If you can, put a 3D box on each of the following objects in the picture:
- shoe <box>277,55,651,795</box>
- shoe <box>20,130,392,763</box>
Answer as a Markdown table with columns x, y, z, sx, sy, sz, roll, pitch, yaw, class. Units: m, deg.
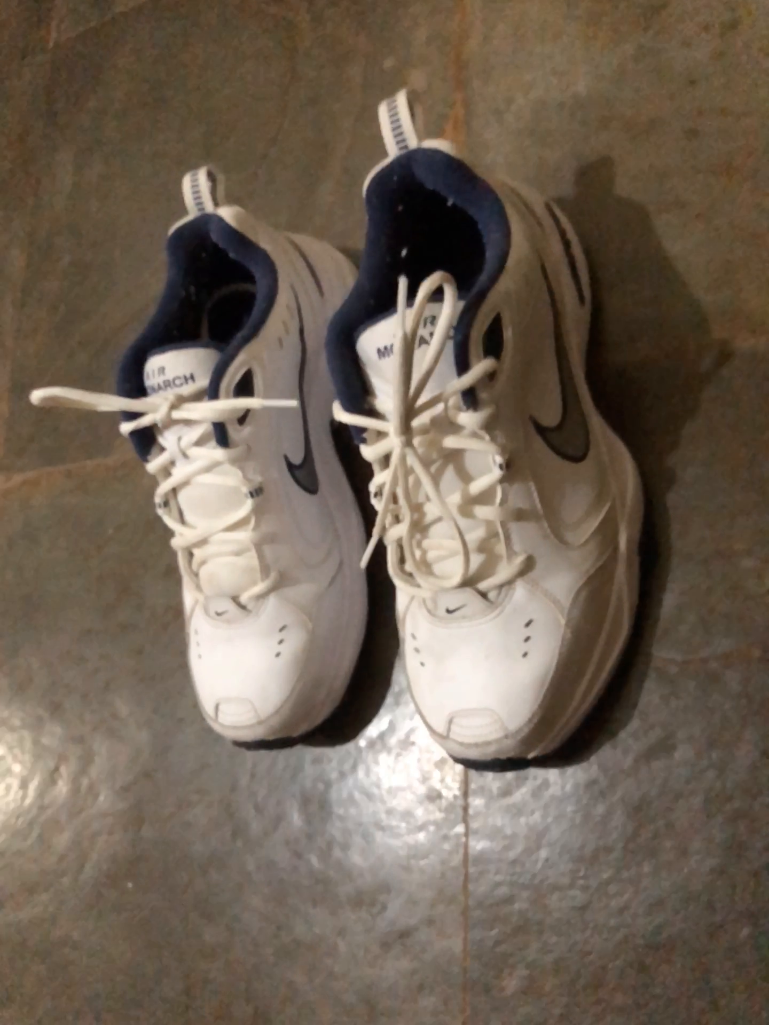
| x | y | z | sx | sy | sz | roll | pitch | yaw | class |
| --- | --- | --- | --- | --- | --- | --- | --- | --- | --- |
| 0.048 | -0.028 | 0.423 | 0.120 | 0.150 | 0.300 | -6 | 75 | 28 | shoe |
| -0.086 | -0.021 | 0.478 | 0.120 | 0.150 | 0.300 | -8 | 74 | 27 | shoe |
